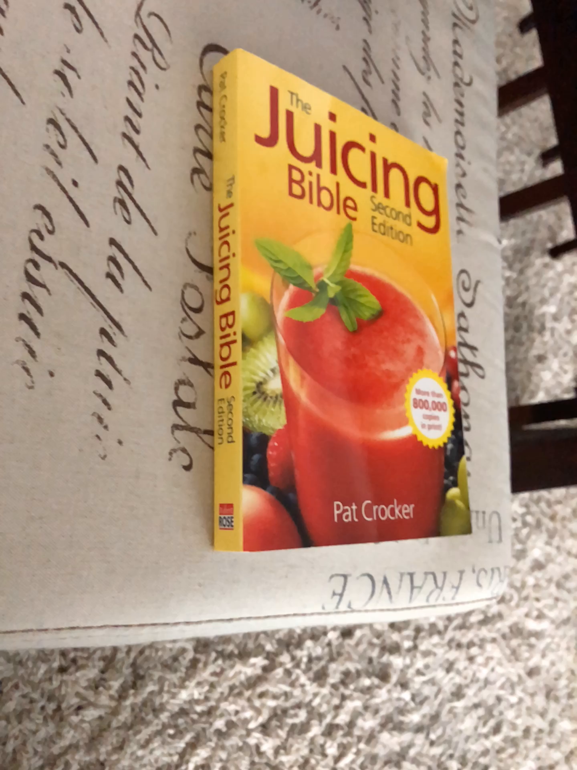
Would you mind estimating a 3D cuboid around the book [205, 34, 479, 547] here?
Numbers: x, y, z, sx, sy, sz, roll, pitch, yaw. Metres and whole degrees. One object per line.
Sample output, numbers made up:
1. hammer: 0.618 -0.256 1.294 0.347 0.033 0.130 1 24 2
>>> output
1. book: 0.037 -0.041 0.372 0.181 0.030 0.250 8 77 -40
